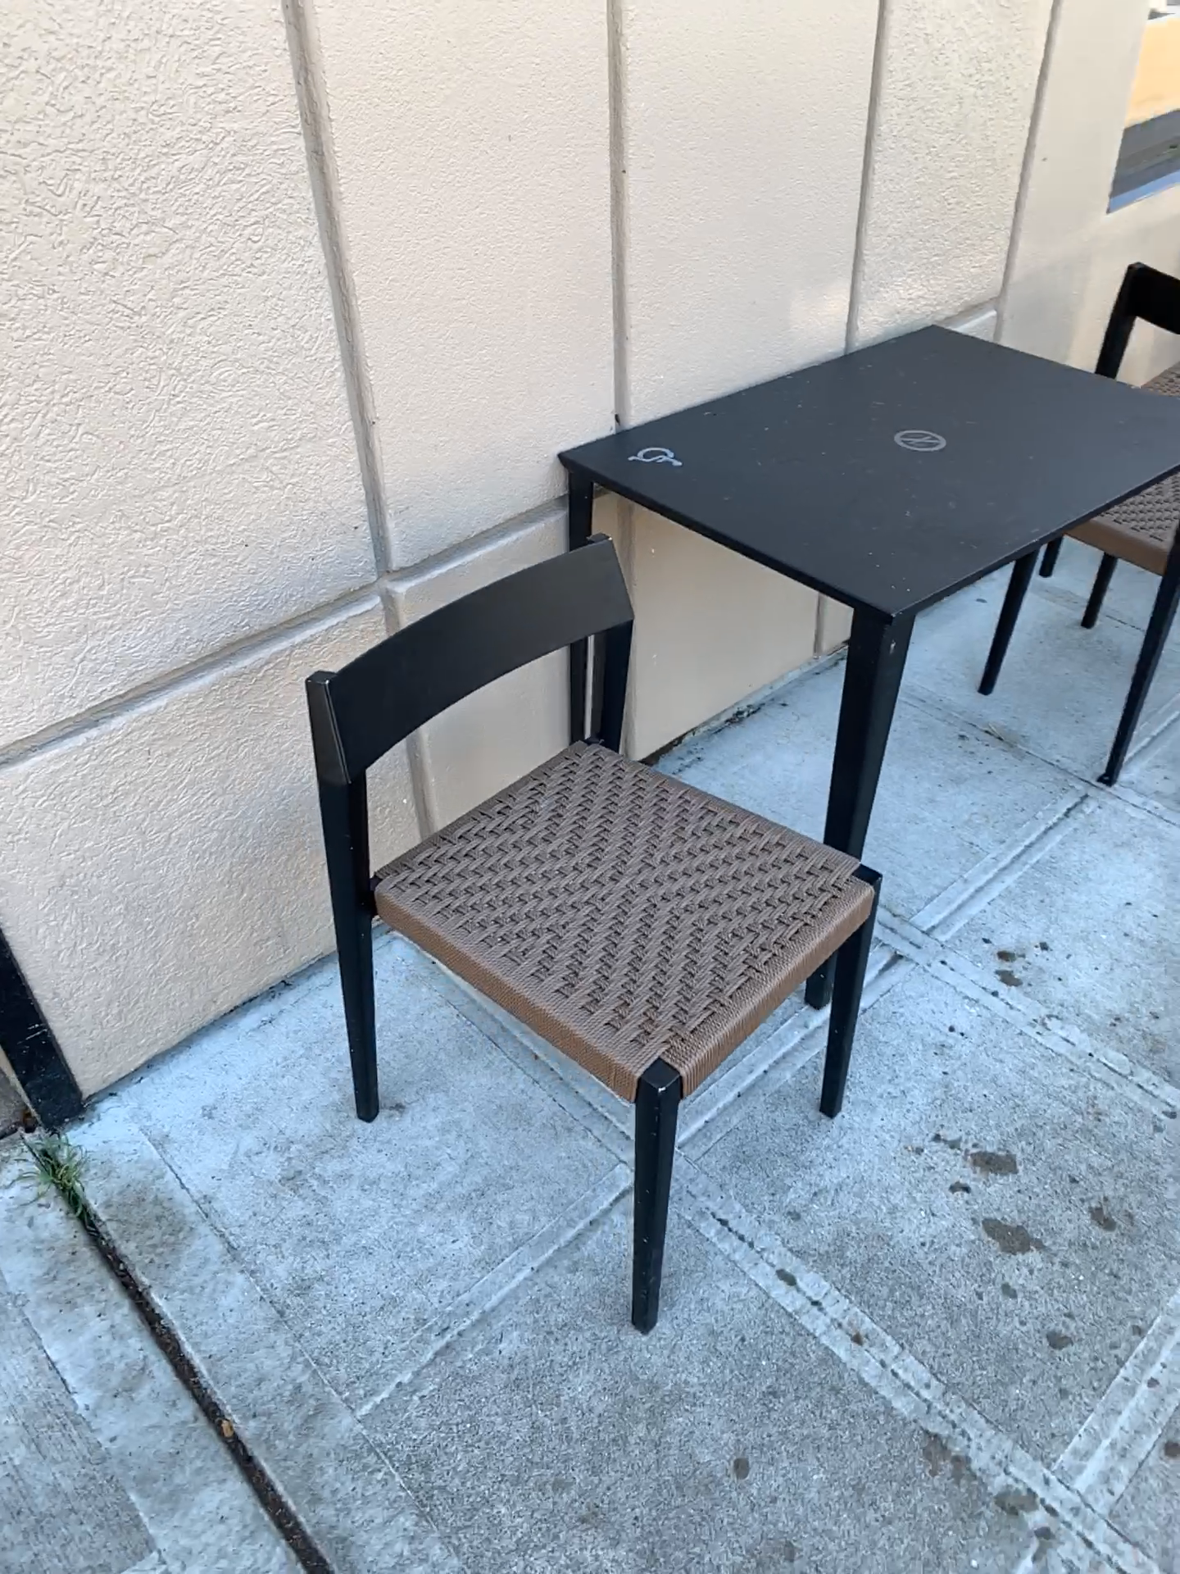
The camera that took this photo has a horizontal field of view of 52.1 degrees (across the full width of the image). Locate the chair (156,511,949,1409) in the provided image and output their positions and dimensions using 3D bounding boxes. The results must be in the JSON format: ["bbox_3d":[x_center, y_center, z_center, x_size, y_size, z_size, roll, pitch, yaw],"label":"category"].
[{"bbox_3d":[-0.025,0.167,1.394,0.552,0.666,0.551,29,49,32],"label":"chair"}]
